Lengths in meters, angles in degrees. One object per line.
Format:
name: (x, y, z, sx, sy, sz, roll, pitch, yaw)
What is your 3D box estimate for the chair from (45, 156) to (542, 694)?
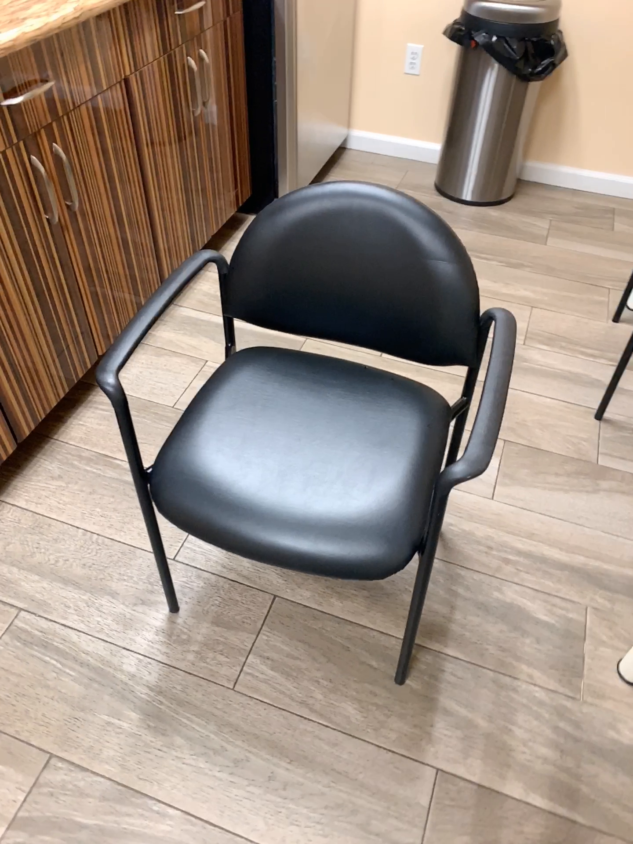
chair: (0.002, 0.019, 1.199, 0.590, 0.736, 0.523, 13, 47, 10)
